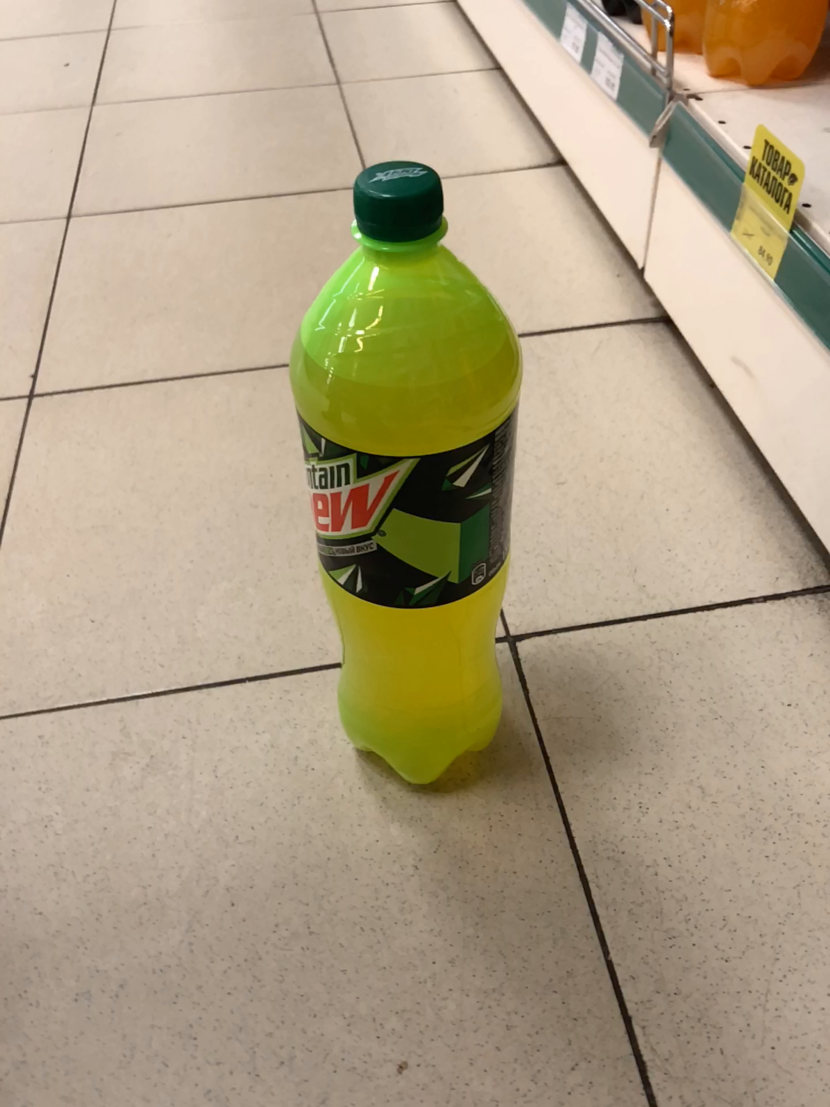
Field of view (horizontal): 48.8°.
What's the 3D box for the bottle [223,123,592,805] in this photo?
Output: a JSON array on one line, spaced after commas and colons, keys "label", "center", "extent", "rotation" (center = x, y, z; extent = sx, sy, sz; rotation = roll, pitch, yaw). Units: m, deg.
[{"label": "bottle", "center": [-0.003, -0.017, 0.413], "extent": [0.100, 0.294, 0.095], "rotation": [-1, 45, 1]}]
